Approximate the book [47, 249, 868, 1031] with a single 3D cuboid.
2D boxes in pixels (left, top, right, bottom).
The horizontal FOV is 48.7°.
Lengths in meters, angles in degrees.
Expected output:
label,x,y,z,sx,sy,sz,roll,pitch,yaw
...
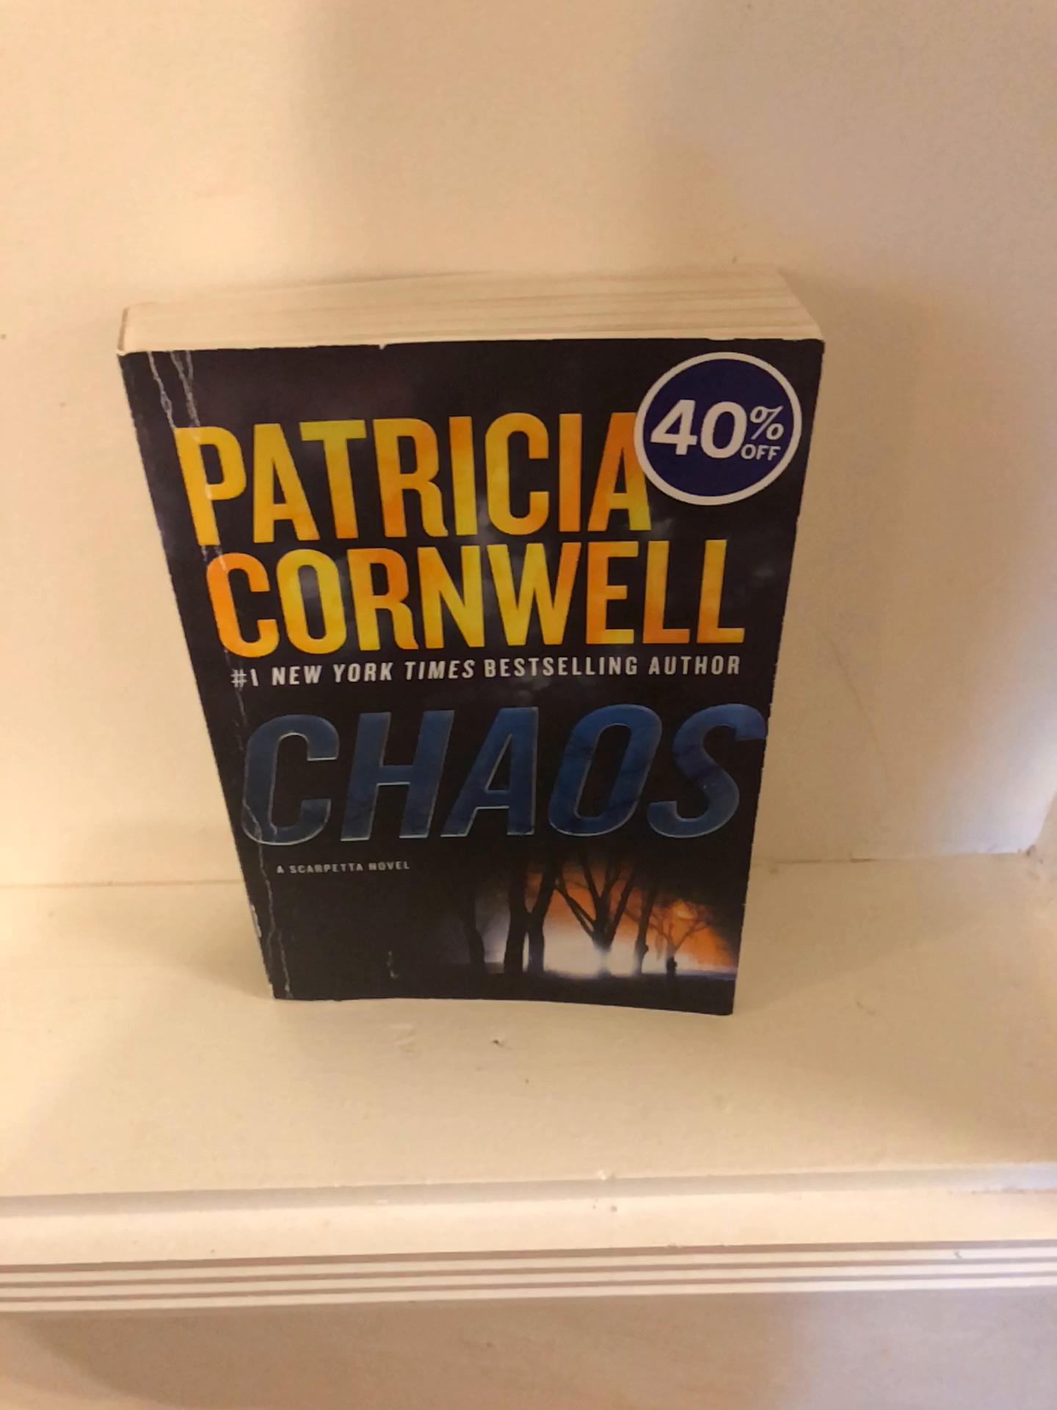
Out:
label,x,y,z,sx,sy,sz,roll,pitch,yaw
book,-0.014,-0.005,0.324,0.170,0.219,0.050,2,35,4
